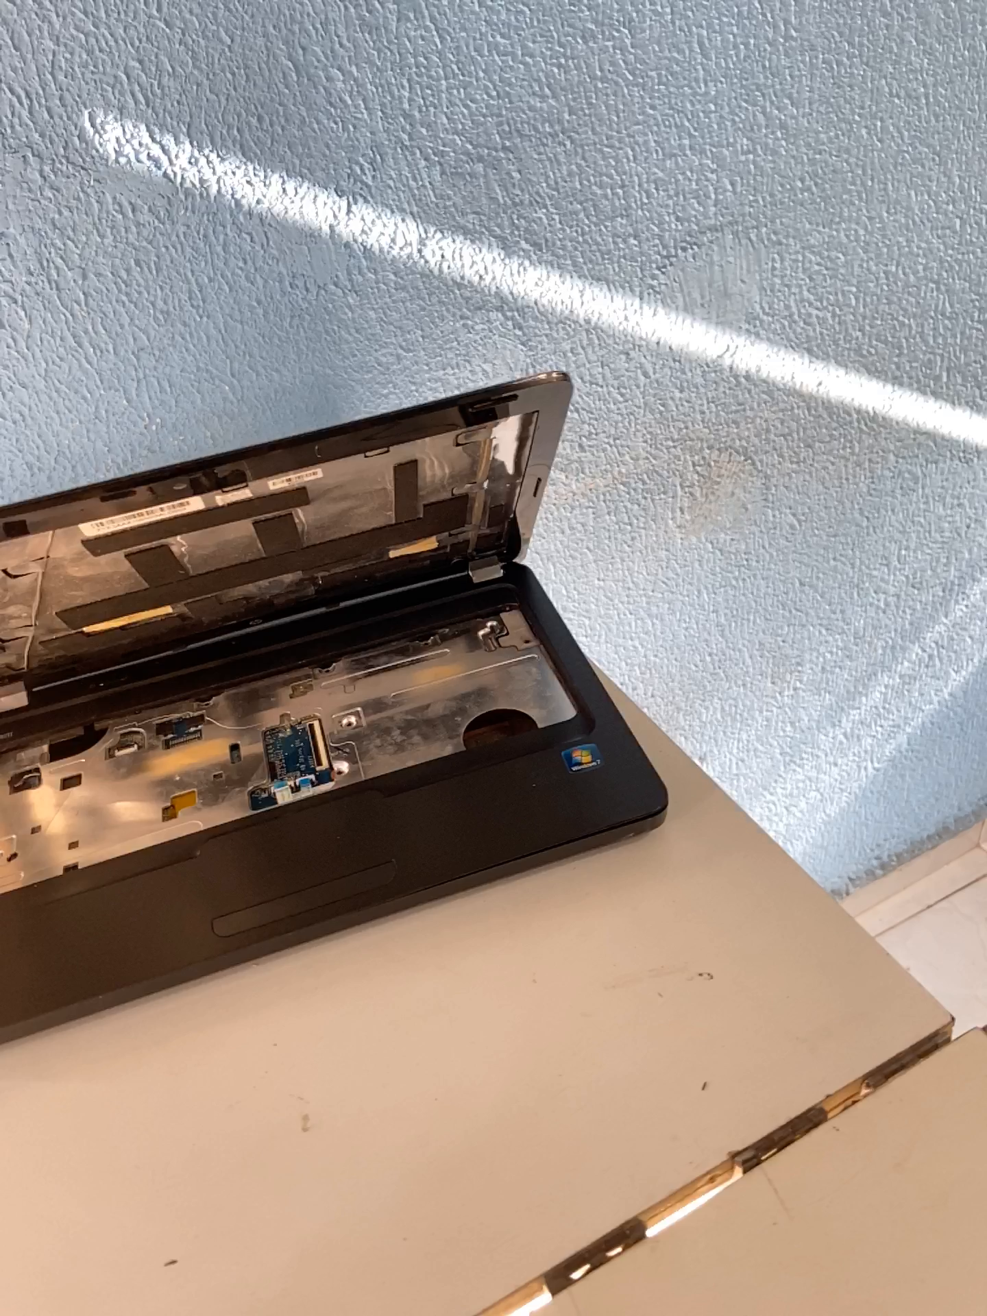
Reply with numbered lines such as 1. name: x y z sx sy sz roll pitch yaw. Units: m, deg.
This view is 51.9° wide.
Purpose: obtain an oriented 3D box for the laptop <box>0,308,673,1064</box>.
1. laptop: -0.119 -0.013 0.457 0.327 0.153 0.223 -16 37 -9
